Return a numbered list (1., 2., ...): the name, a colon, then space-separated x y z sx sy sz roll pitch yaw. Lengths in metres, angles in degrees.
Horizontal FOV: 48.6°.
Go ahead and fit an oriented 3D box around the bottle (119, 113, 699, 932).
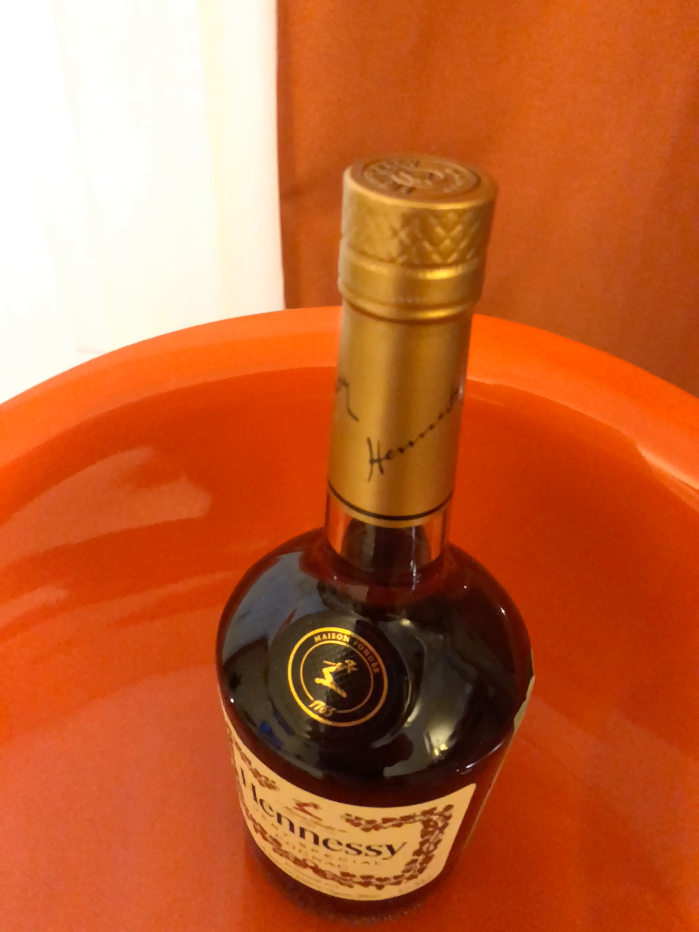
1. bottle: 0.013 0.040 0.203 0.079 0.218 0.080 2 40 -2
